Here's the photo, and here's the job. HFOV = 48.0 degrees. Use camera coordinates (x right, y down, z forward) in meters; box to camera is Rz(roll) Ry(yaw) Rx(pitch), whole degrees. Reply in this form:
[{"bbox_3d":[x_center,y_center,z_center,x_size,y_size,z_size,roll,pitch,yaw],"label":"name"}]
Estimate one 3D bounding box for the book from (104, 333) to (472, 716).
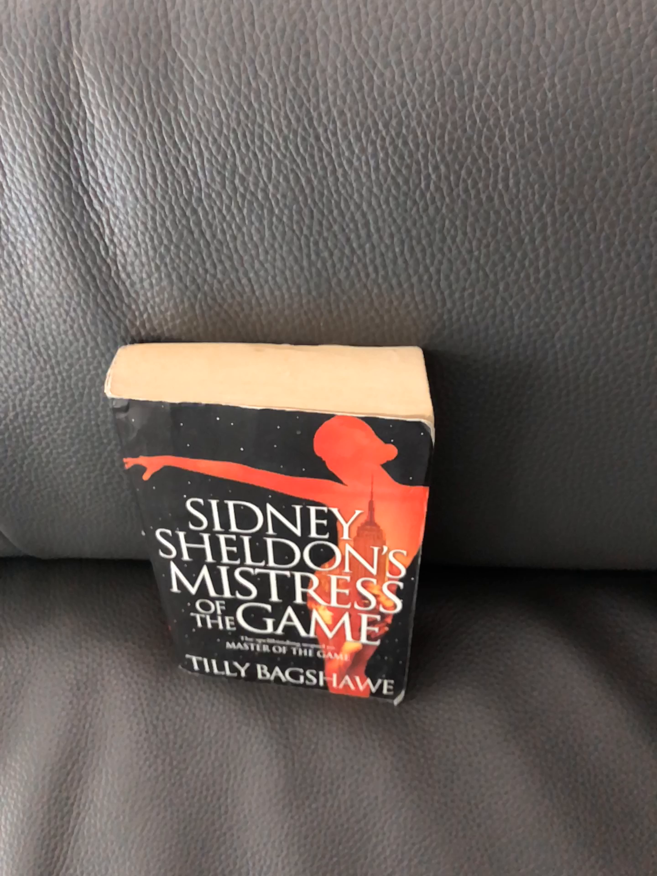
[{"bbox_3d":[-0.009,0.046,0.313,0.118,0.179,0.046,5,44,8],"label":"book"}]
